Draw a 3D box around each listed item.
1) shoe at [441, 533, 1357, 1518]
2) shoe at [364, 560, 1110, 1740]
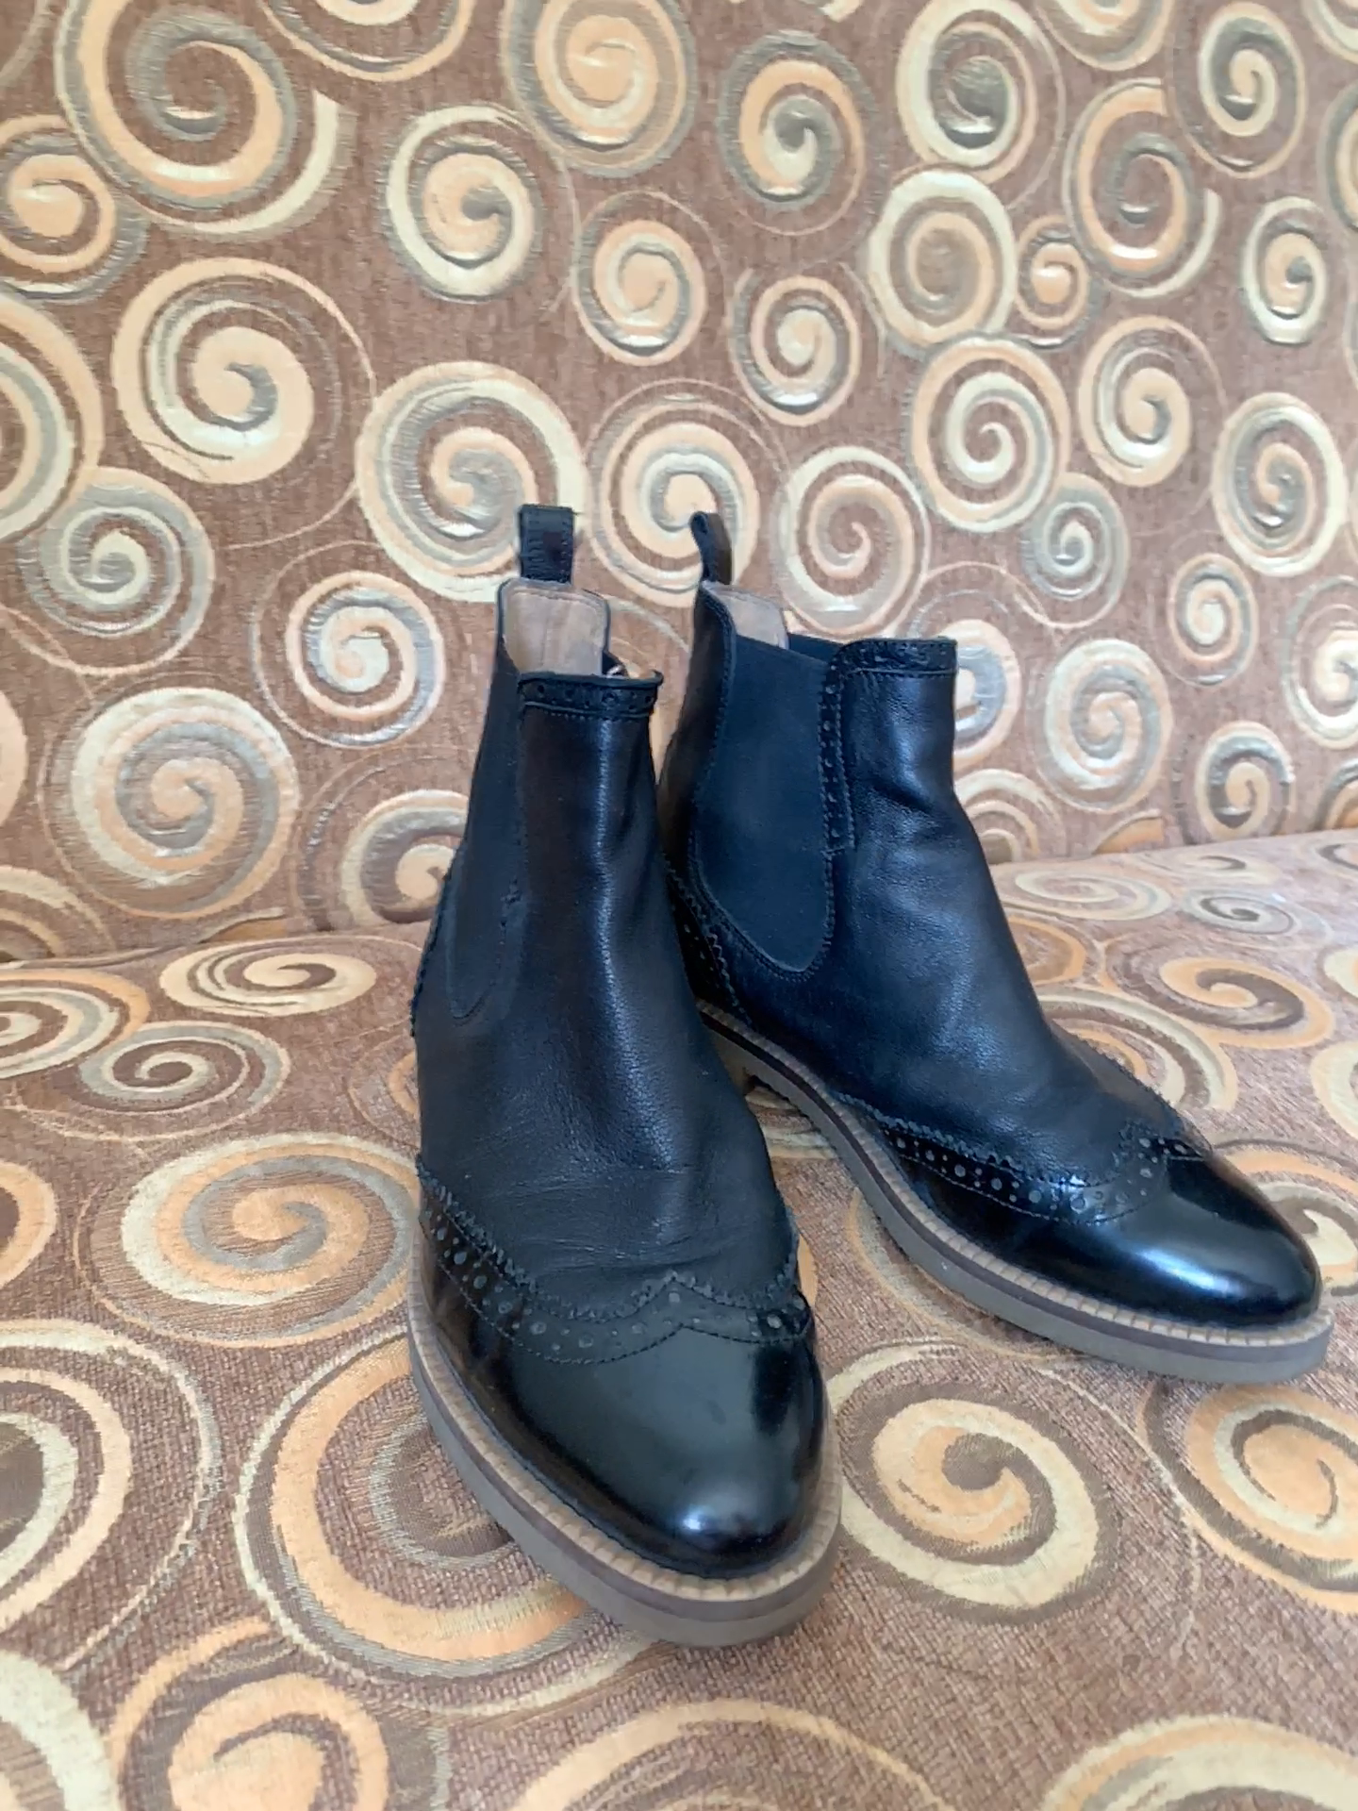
[{"bbox_3d":[0.055,0.001,0.399,0.100,0.139,0.291,-16,35,-38],"label":"shoe"},{"bbox_3d":[-0.020,0.024,0.321,0.100,0.139,0.241,0,28,-13],"label":"shoe"}]
